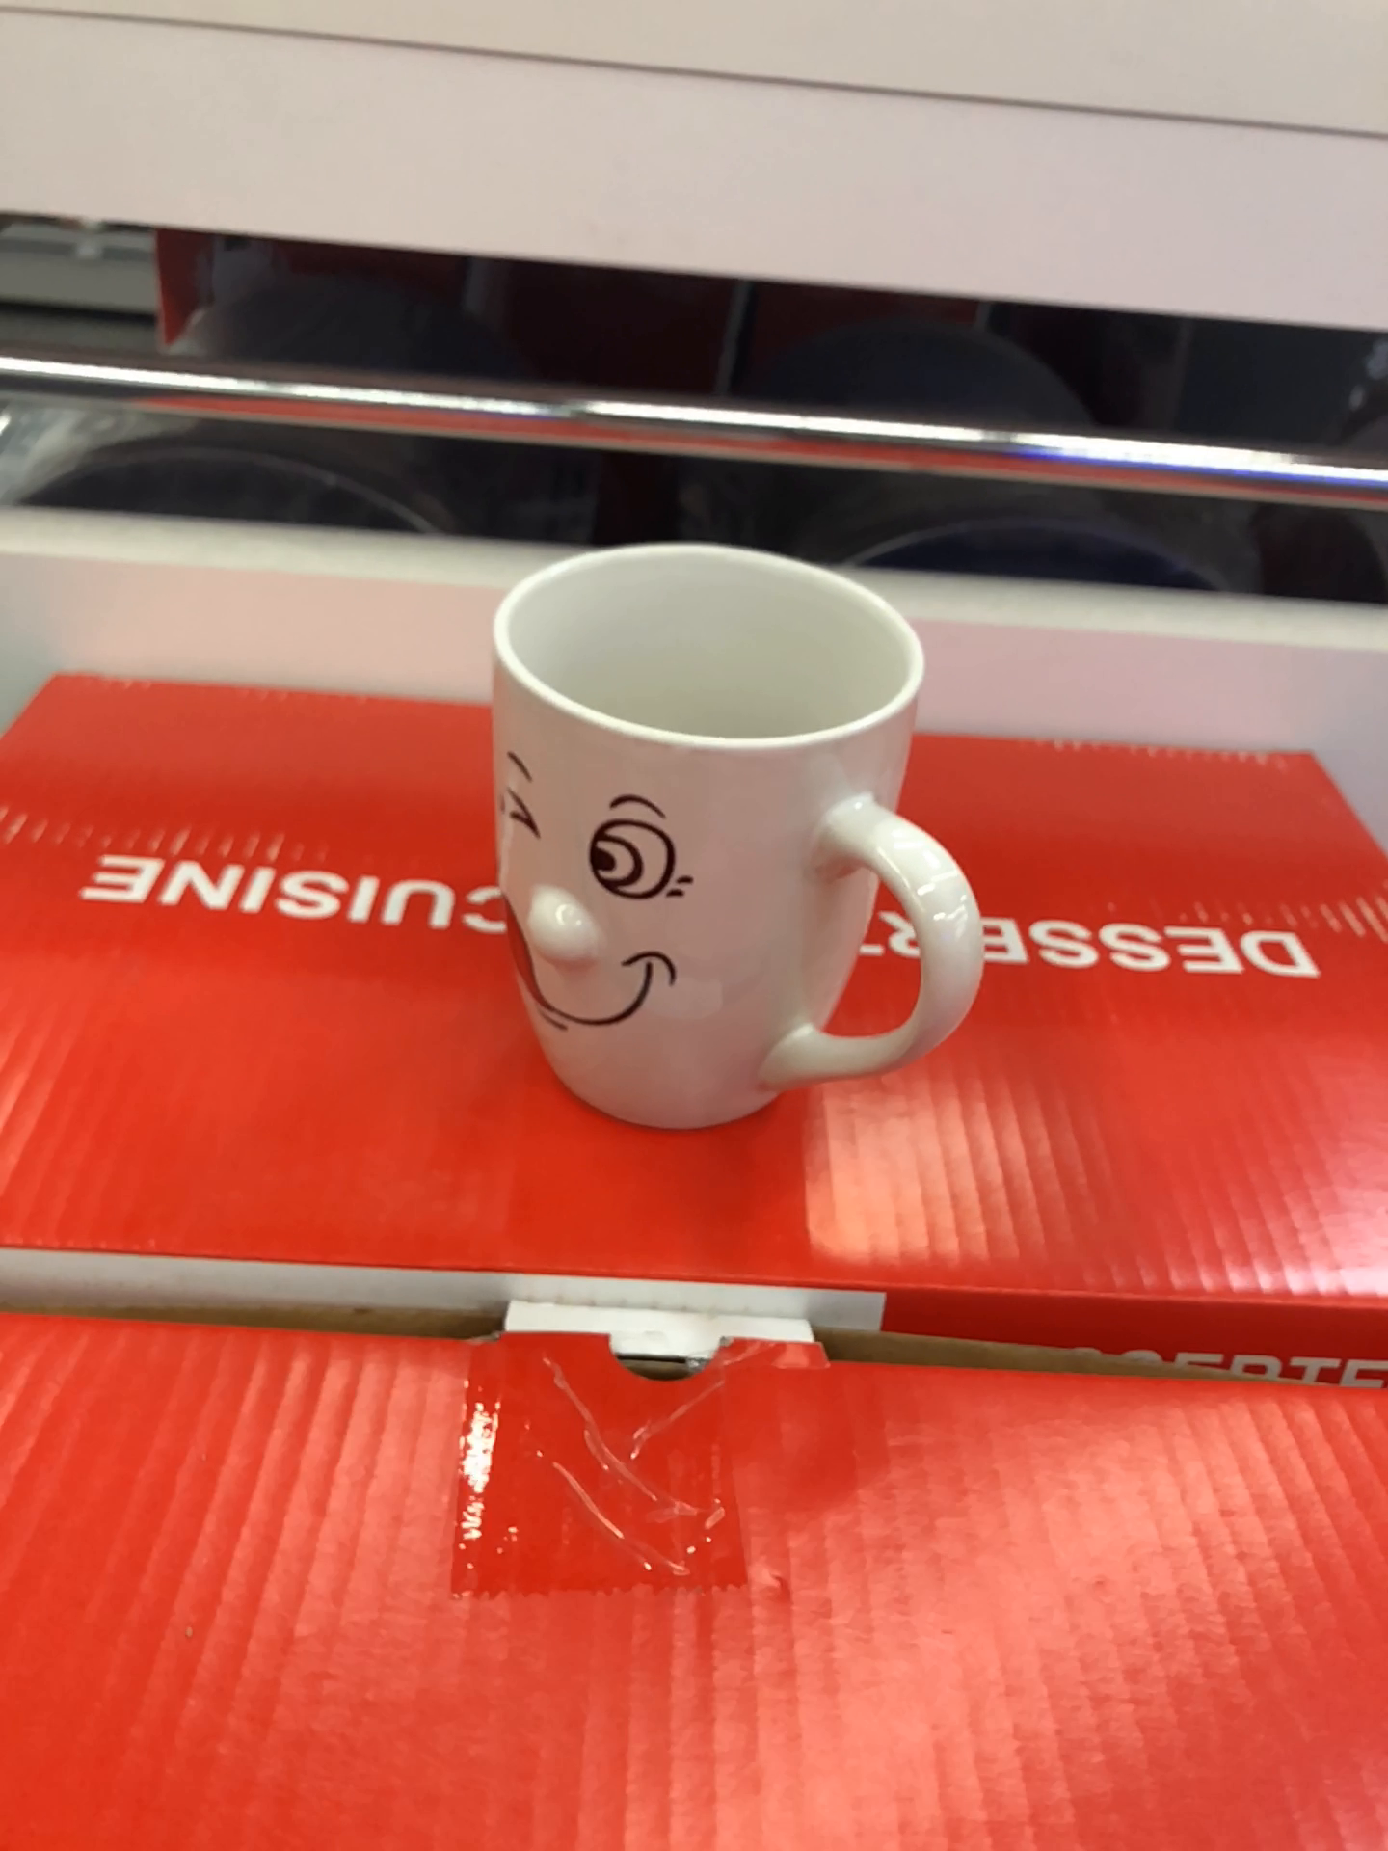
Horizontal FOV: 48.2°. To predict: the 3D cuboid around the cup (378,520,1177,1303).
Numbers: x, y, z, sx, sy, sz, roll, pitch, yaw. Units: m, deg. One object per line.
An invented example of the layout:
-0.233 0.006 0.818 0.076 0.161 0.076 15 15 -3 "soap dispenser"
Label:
0.010 -0.013 0.320 0.093 0.092 0.123 -25 44 -38 "cup"
